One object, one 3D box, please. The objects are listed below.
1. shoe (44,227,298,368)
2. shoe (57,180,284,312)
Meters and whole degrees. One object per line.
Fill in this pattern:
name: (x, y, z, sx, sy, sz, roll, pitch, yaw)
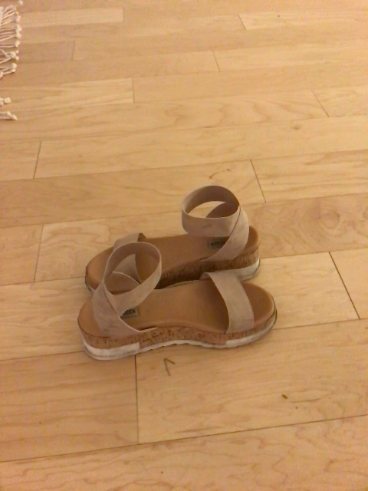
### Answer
shoe: (-0.016, 0.066, 0.515, 0.280, 0.109, 0.111, -5, 49, -3)
shoe: (-0.019, 0.001, 0.573, 0.280, 0.119, 0.111, -6, 49, -3)
